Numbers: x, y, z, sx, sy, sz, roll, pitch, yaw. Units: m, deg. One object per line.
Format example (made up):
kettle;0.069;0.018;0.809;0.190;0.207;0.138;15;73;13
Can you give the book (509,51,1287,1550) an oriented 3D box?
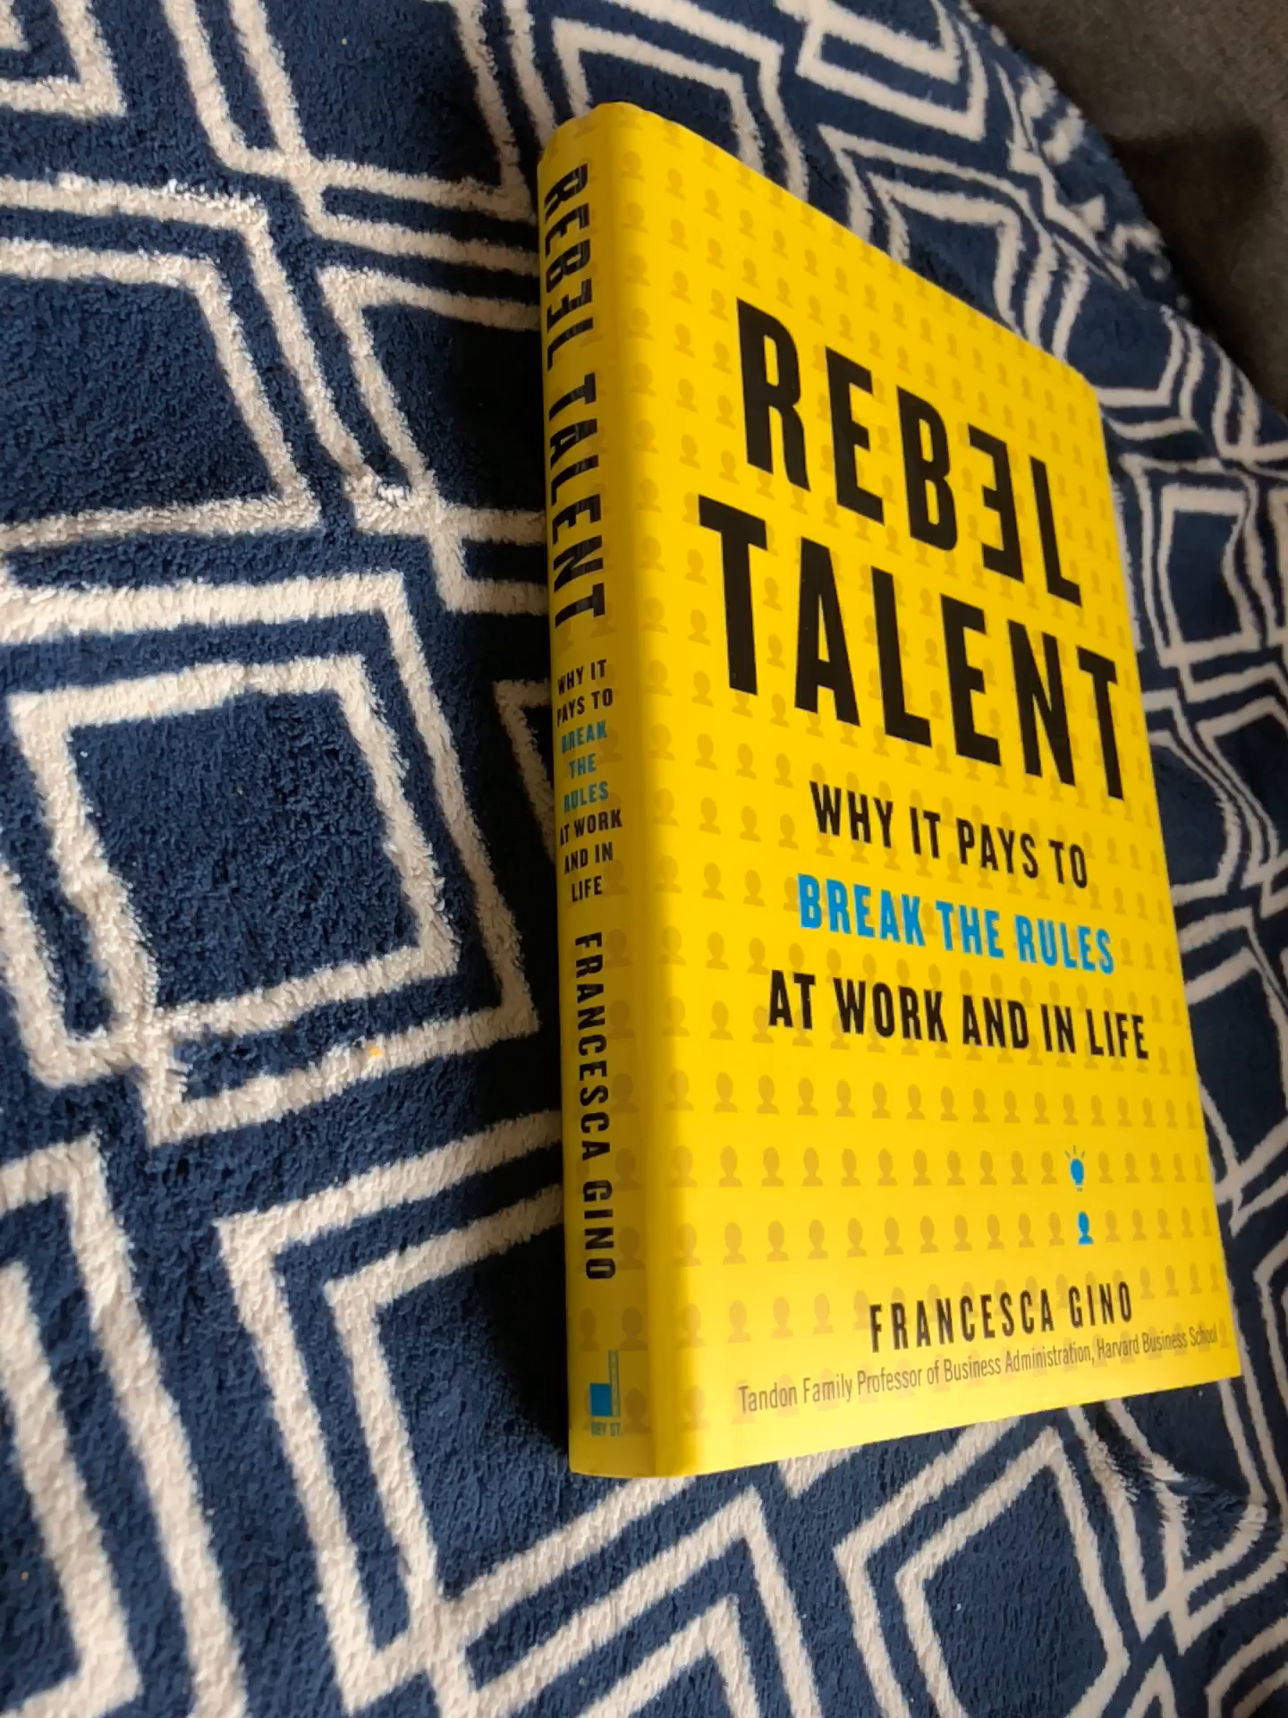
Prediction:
book;0.054;-0.010;0.281;0.168;0.032;0.237;11;69;-41
